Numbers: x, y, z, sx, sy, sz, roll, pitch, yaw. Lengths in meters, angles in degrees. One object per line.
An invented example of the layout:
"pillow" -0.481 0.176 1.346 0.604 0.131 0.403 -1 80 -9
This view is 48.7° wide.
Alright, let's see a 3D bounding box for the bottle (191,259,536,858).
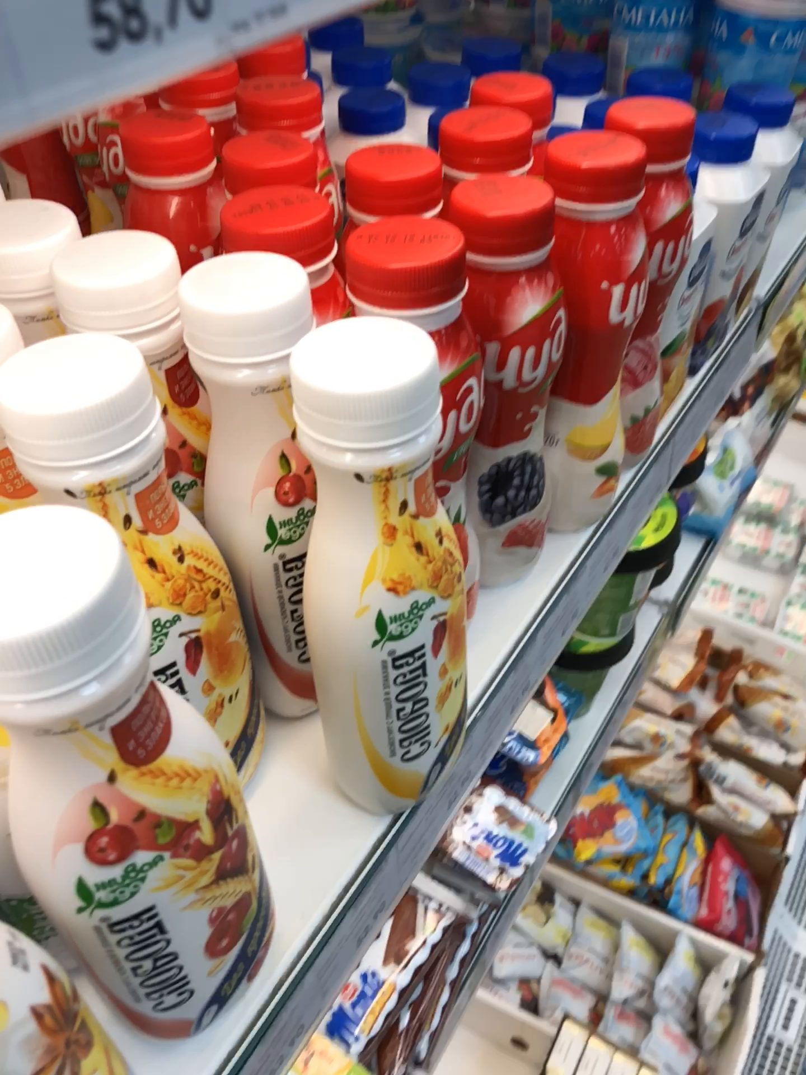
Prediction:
"bottle" -0.008 0.017 0.297 0.060 0.189 0.070 25 49 25
